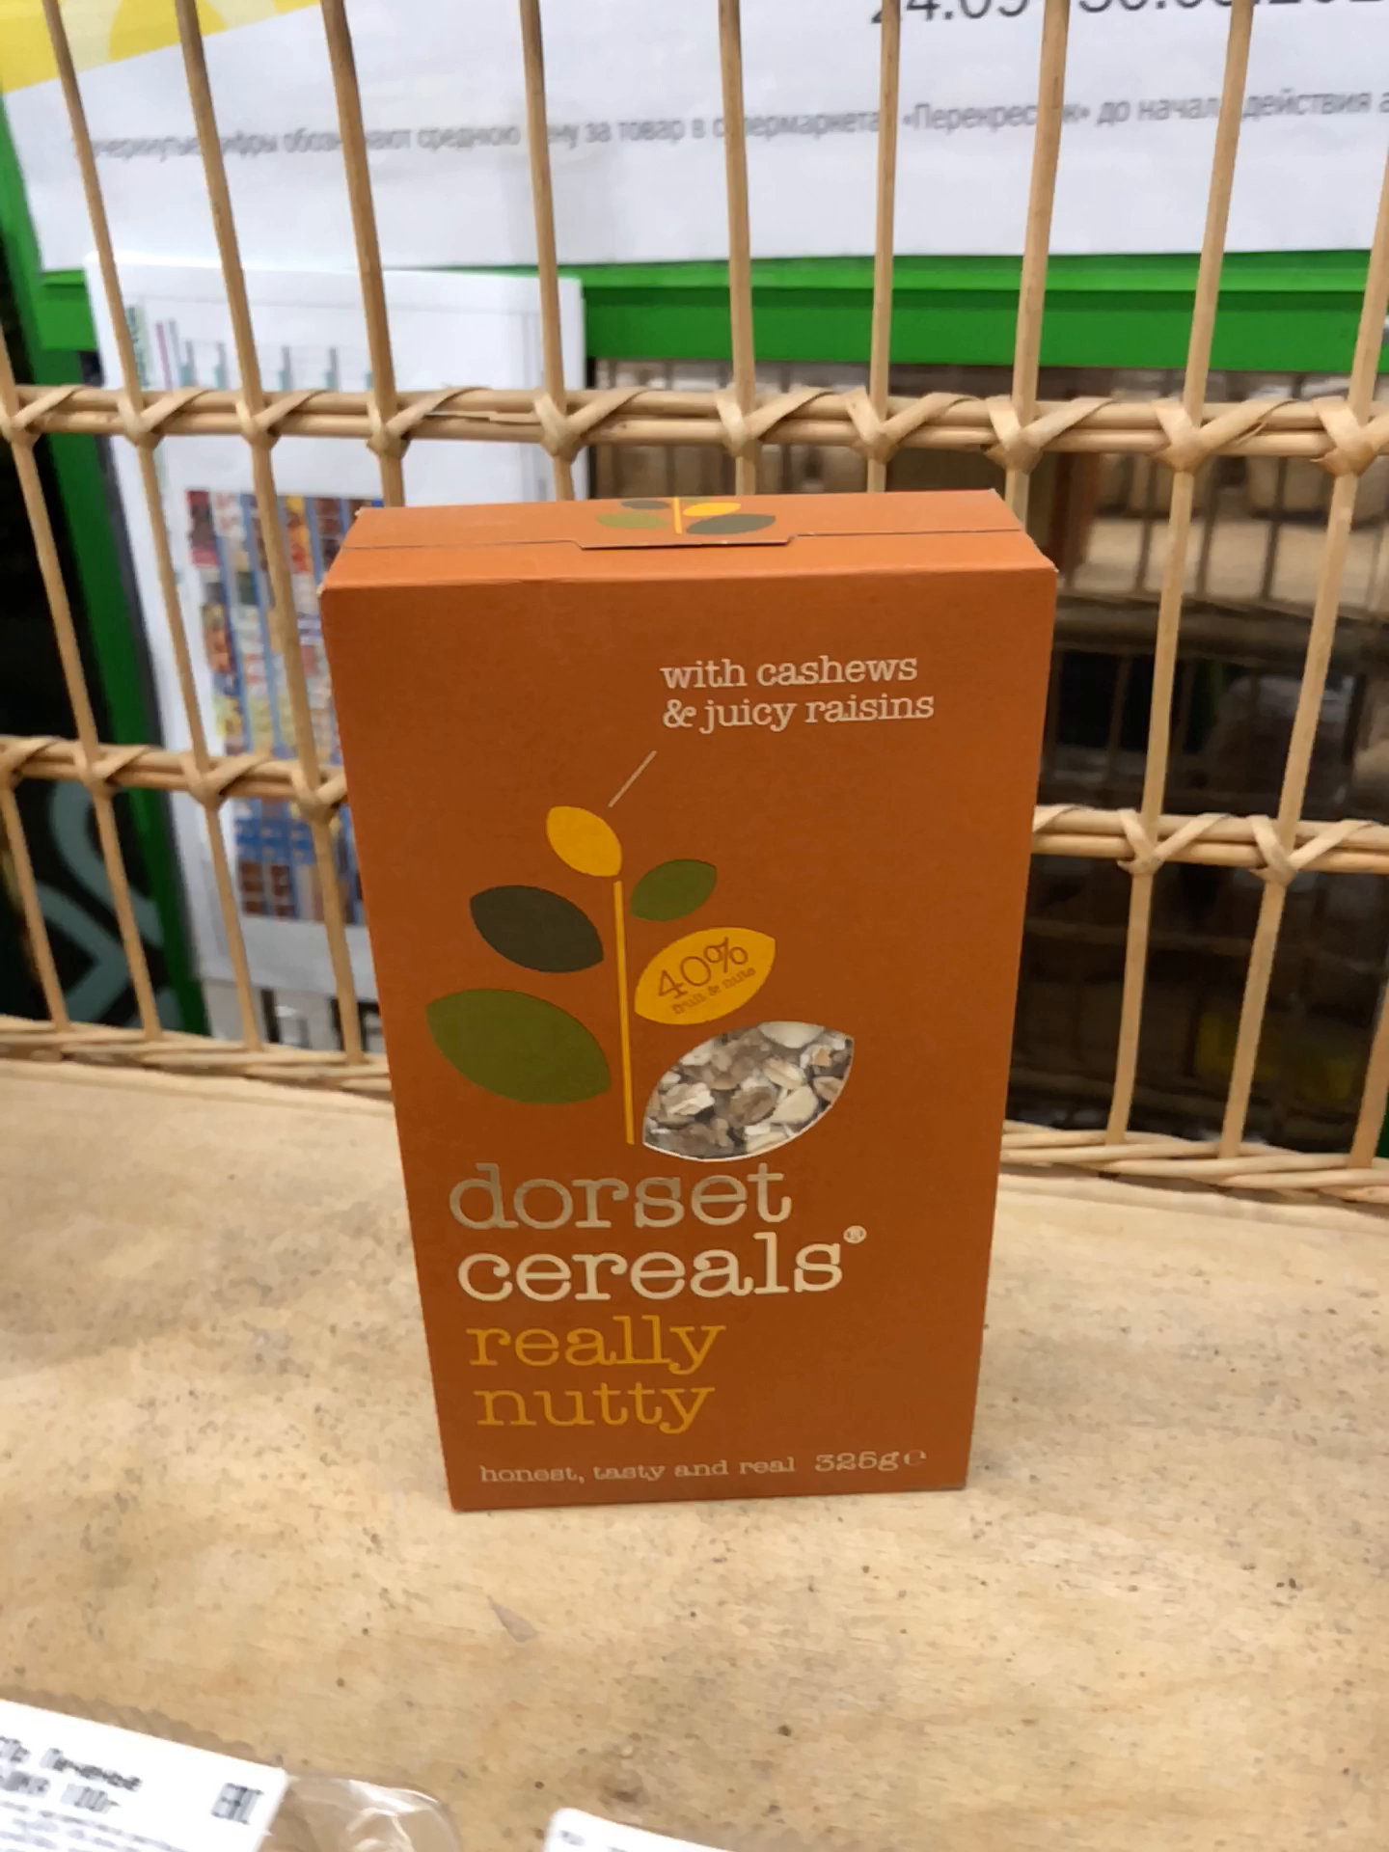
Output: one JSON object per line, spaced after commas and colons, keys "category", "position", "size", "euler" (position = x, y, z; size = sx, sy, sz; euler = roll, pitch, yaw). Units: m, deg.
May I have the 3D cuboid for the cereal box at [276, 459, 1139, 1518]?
{"category": "cereal box", "position": [0.004, 0.022, 0.306], "size": [0.130, 0.209, 0.050], "euler": [-2, 29, -1]}
